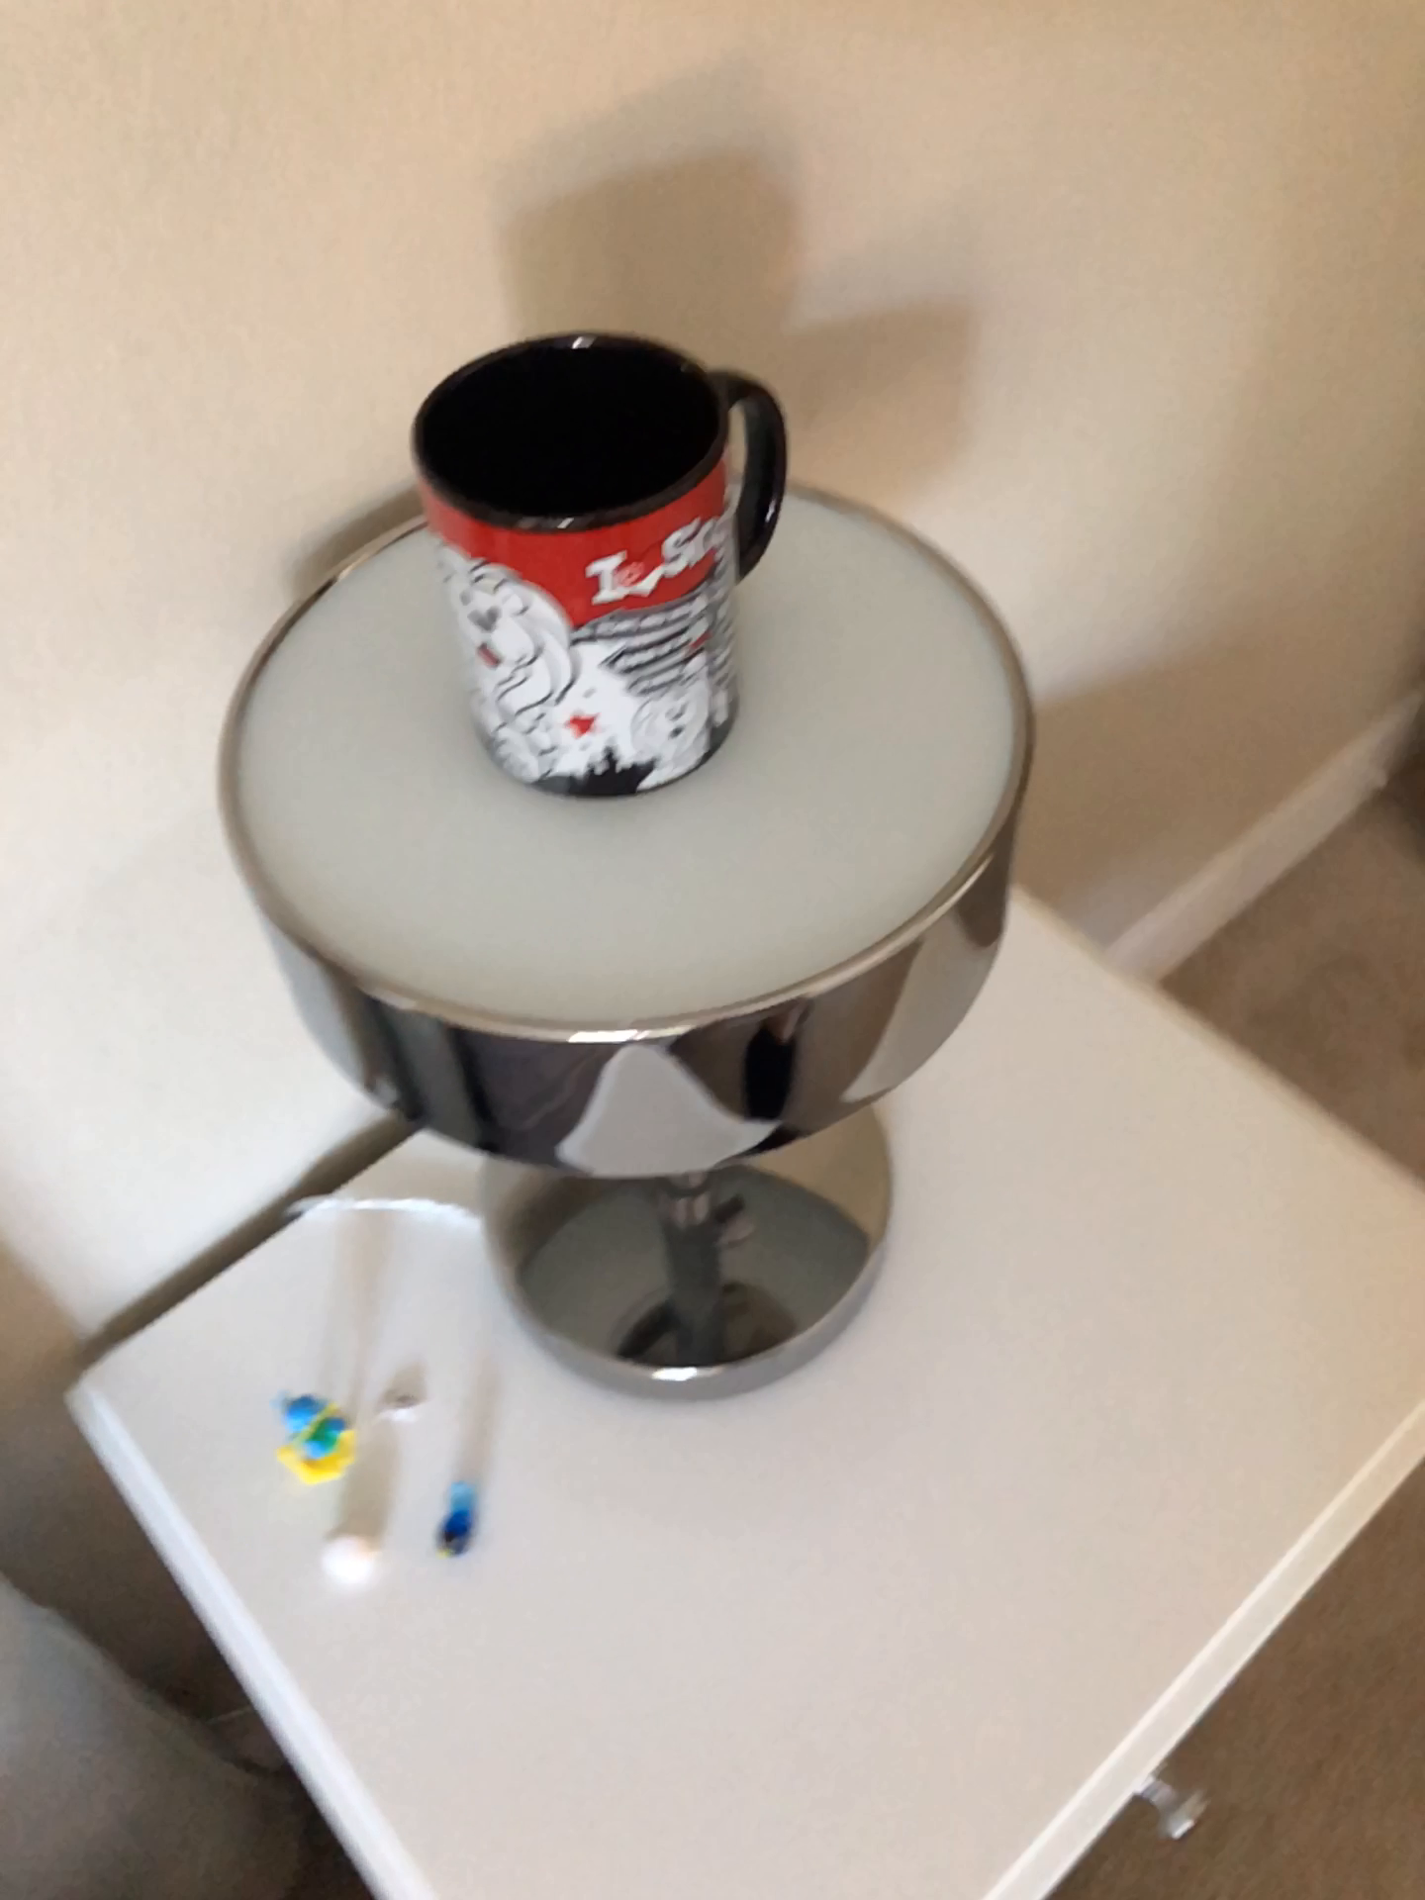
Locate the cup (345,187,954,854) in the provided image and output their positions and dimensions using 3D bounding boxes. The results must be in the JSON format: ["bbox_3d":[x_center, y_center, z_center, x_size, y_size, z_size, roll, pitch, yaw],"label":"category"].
[{"bbox_3d":[-0.011,-0.119,0.431,0.090,0.100,0.130,28,59,23],"label":"cup"}]
